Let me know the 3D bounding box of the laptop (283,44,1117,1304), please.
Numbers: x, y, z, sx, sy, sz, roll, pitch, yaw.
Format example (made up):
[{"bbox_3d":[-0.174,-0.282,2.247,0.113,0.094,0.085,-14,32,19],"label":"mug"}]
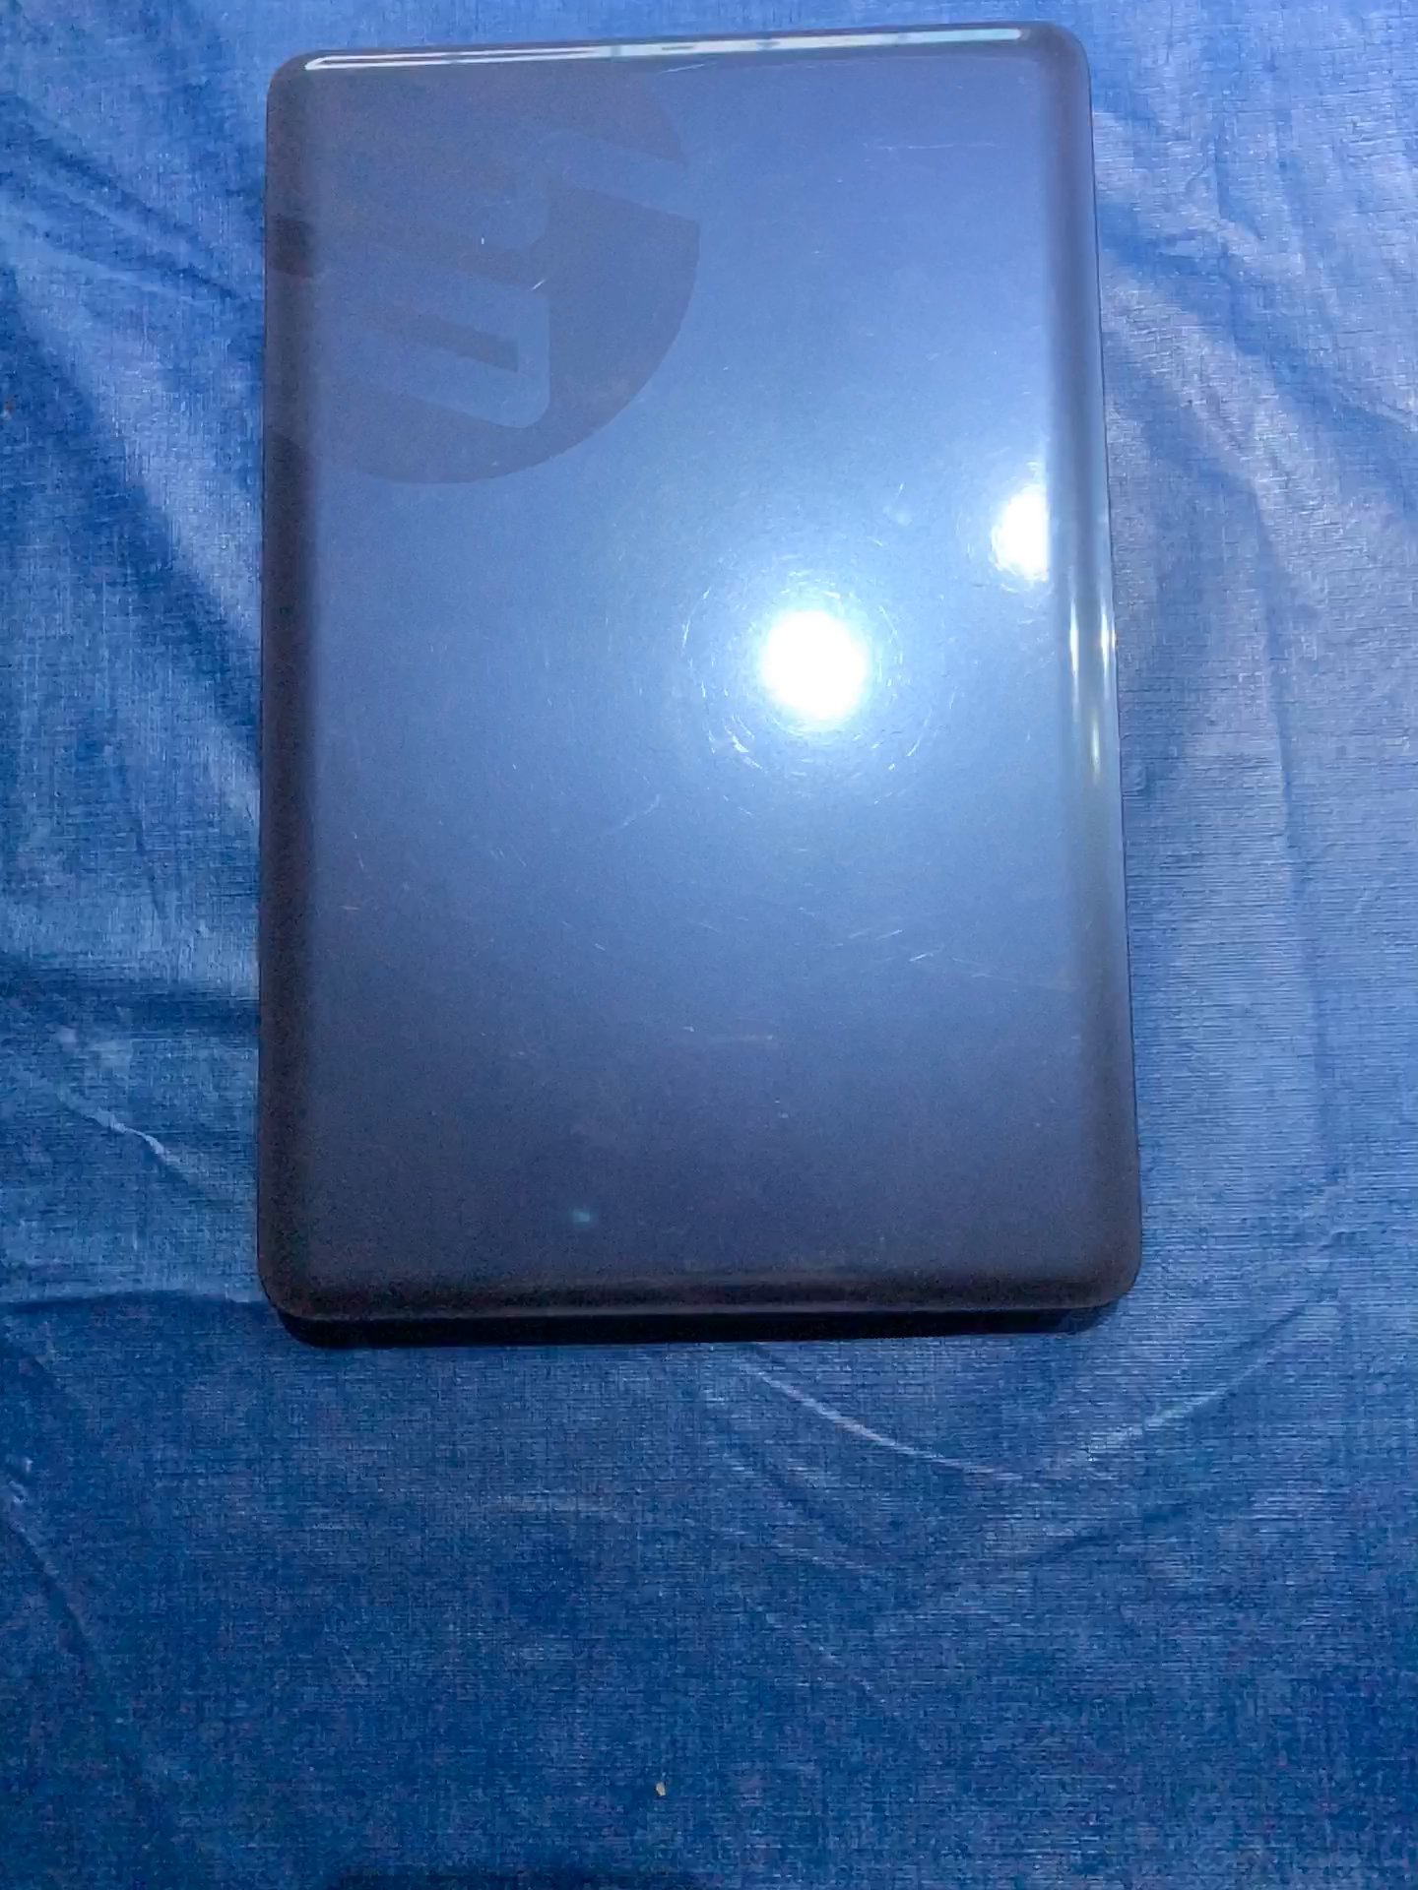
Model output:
[{"bbox_3d":[-0.006,-0.082,0.426,0.235,0.009,0.363,-1,86,1],"label":"laptop"}]
